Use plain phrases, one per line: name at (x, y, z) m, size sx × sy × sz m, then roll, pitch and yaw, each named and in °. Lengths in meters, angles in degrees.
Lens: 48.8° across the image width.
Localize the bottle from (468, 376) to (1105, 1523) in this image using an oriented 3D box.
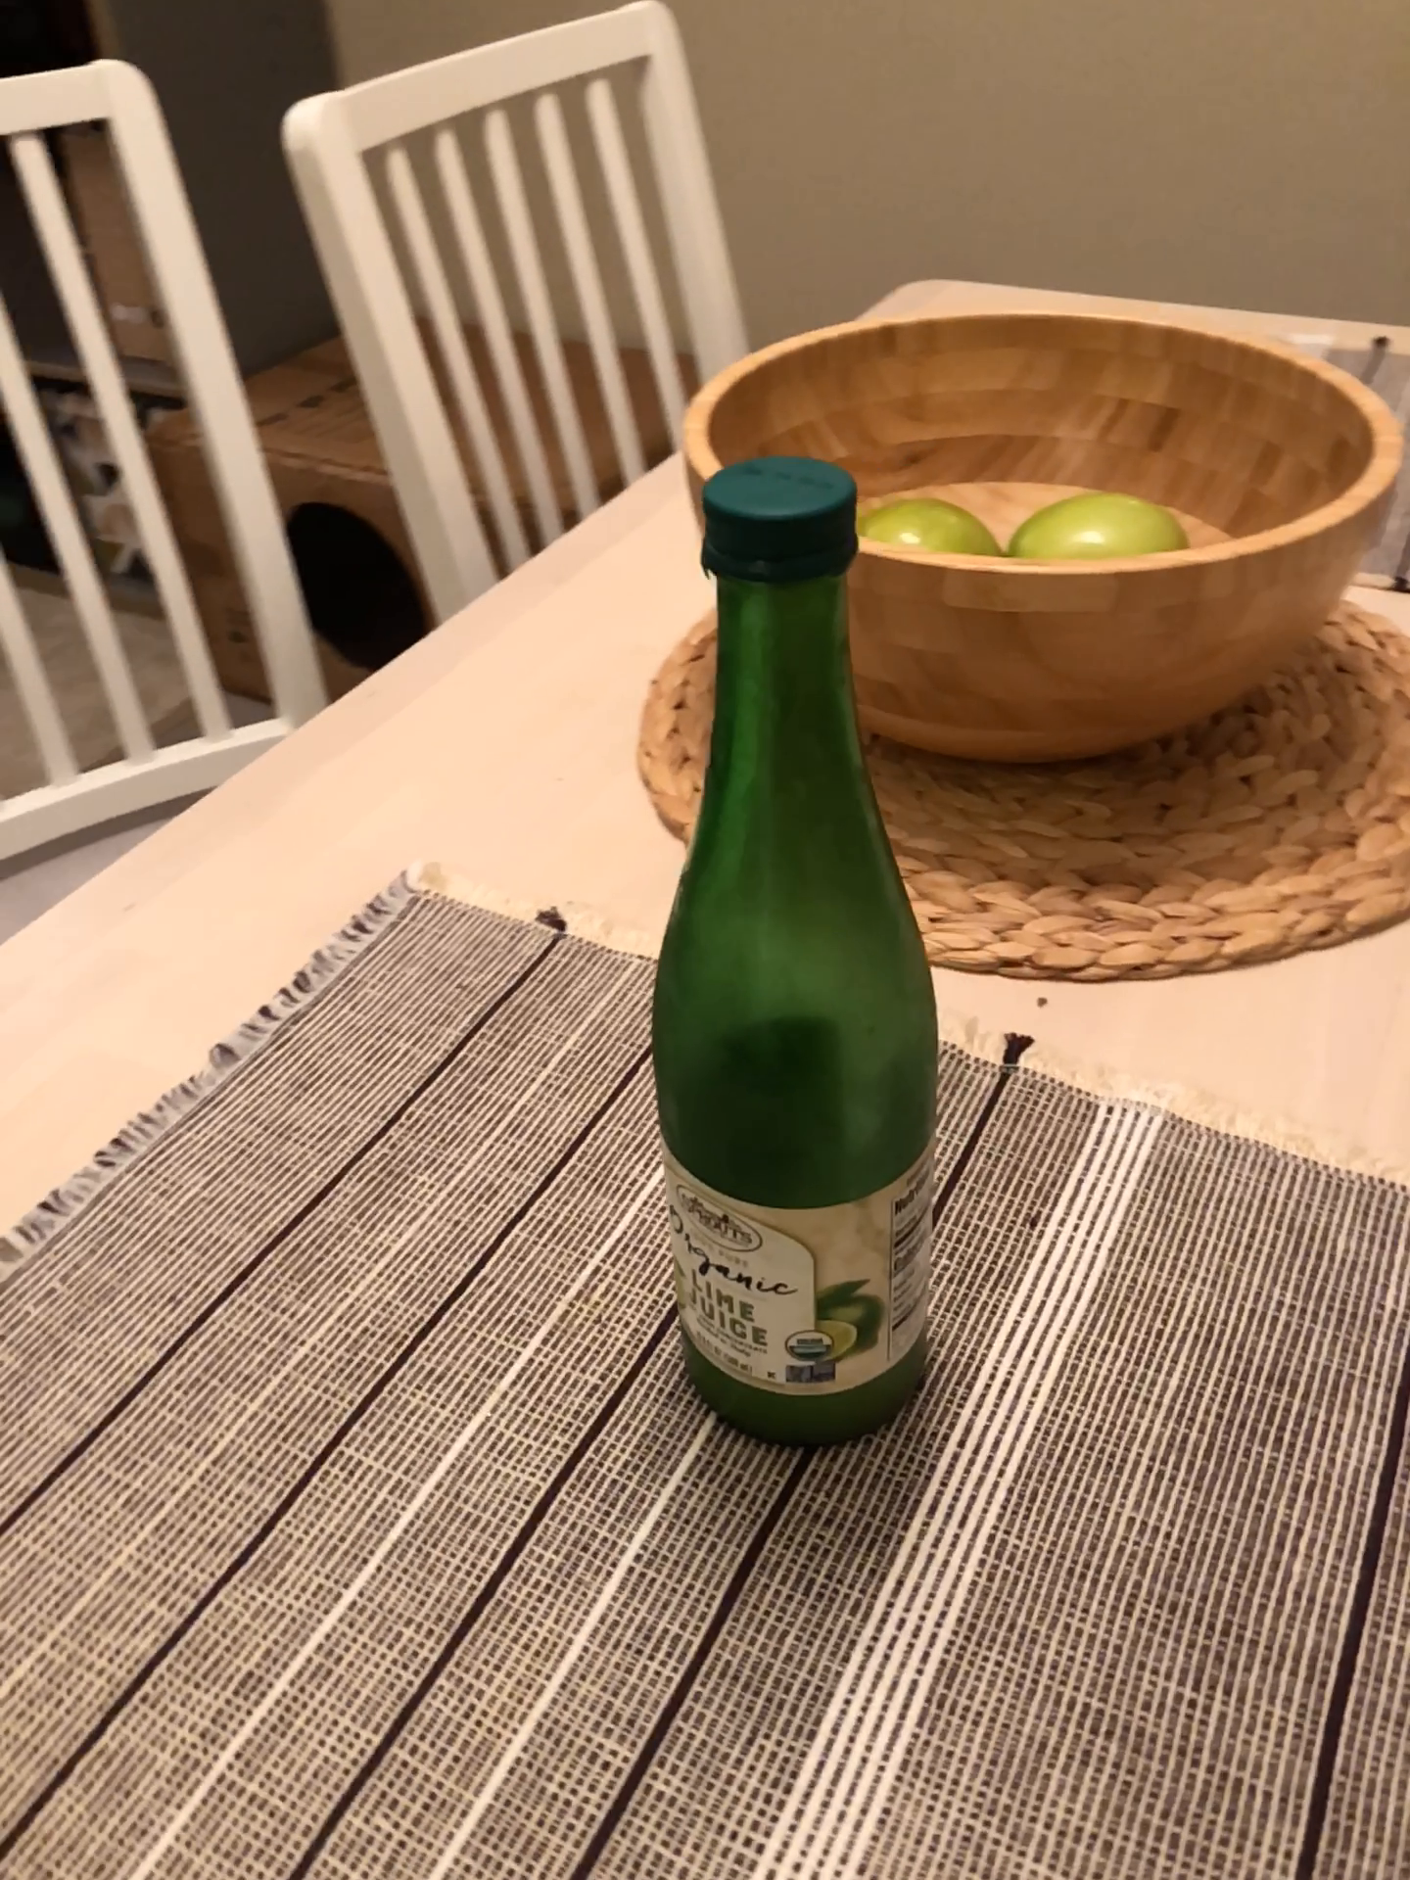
bottle at (0.020, 0.012, 0.346) m, size 0.080 × 0.236 × 0.081 m, roll -2°, pitch 38°, yaw 1°
